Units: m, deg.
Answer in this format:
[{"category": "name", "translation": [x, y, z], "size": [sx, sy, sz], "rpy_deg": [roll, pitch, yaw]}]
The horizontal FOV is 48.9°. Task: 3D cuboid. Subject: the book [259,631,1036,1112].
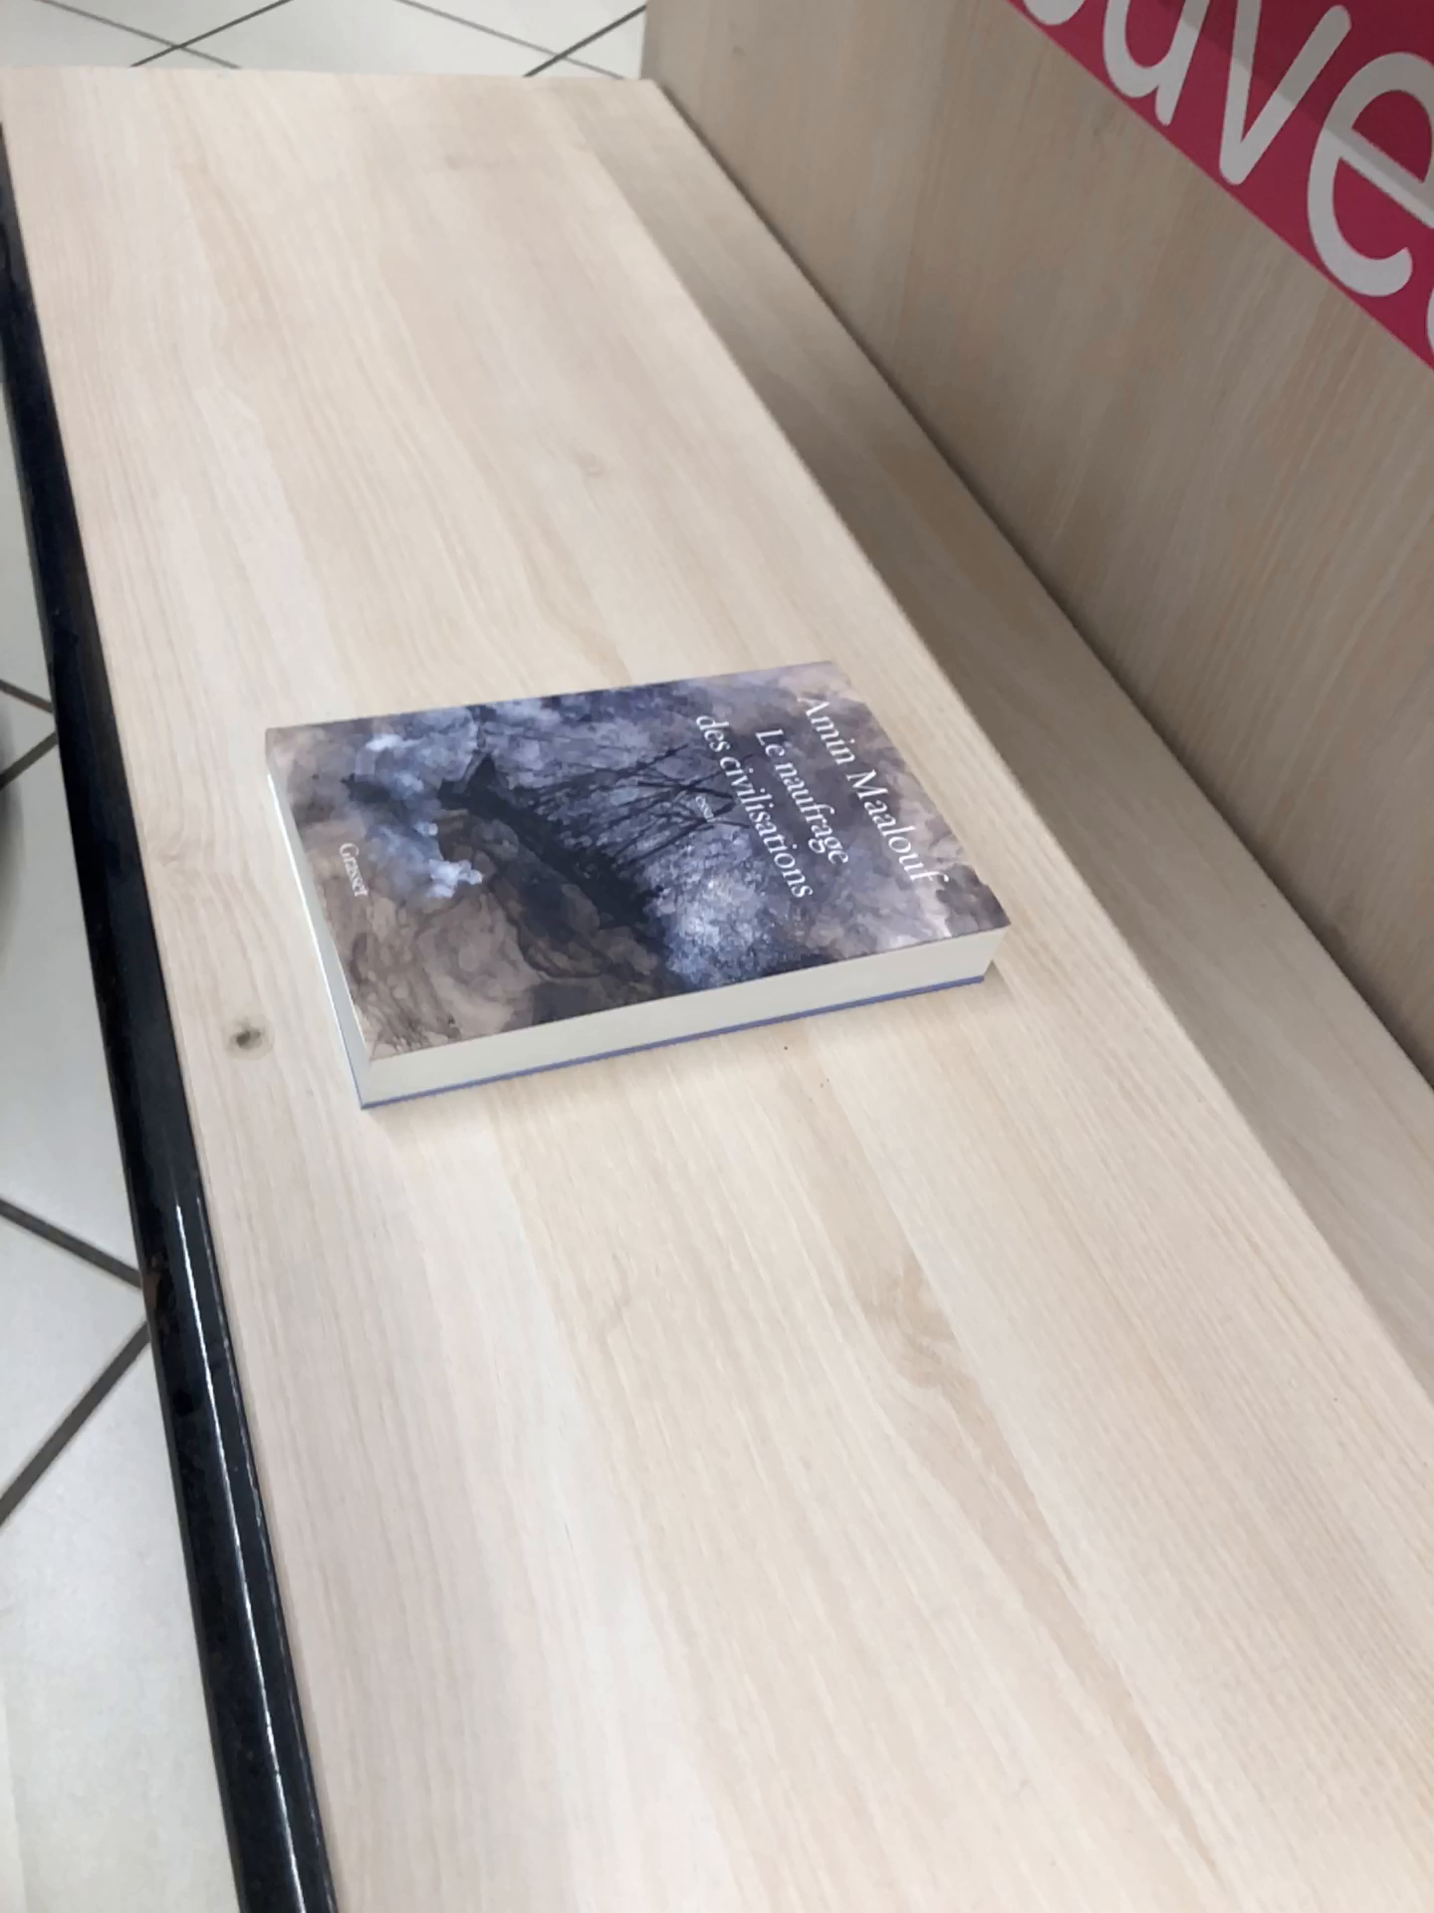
[{"category": "book", "translation": [-0.026, -0.038, 0.510], "size": [0.212, 0.026, 0.148], "rpy_deg": [-11, 52, -20]}]
